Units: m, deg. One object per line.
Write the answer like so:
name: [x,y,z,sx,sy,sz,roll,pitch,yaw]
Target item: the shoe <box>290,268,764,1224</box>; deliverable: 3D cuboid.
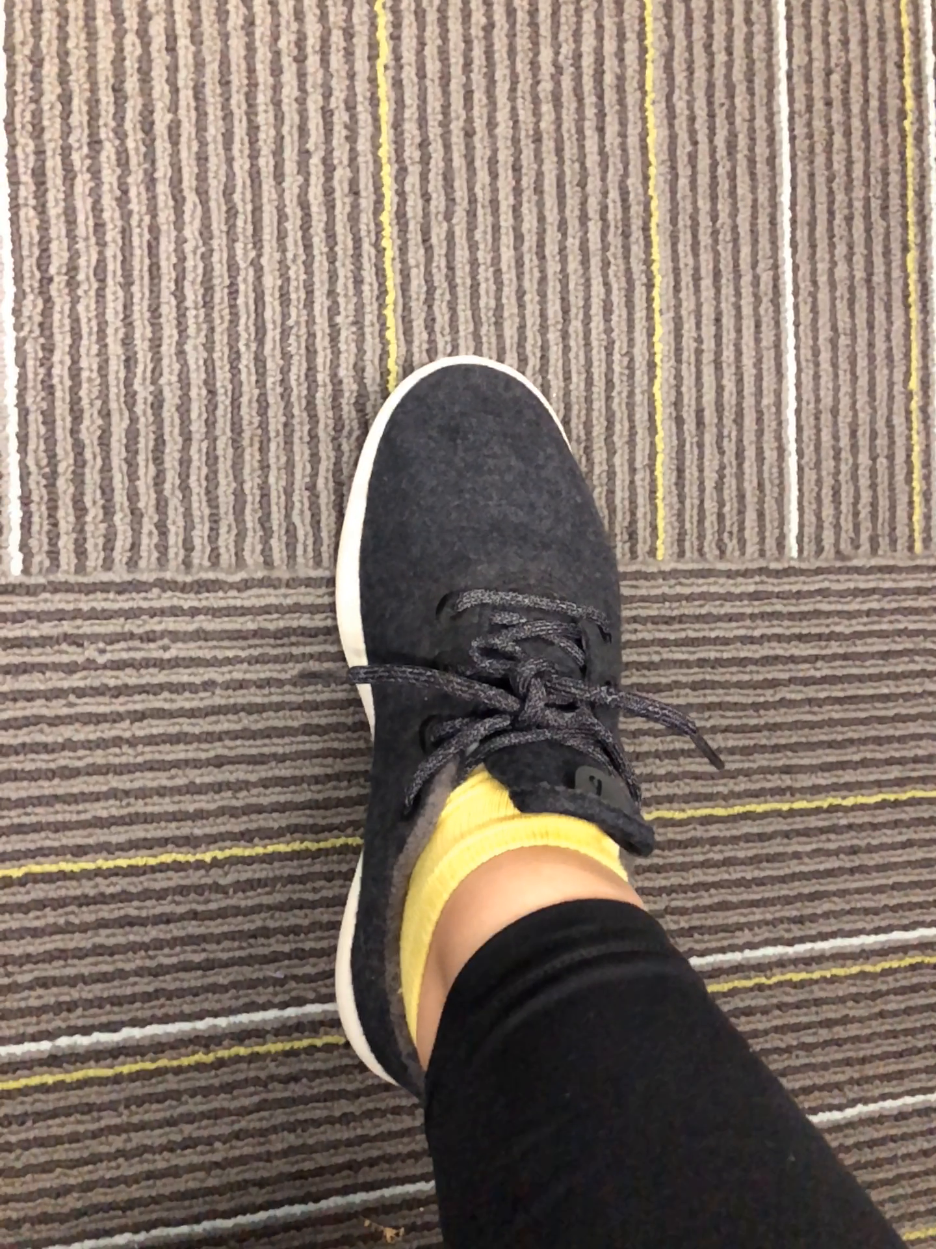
shoe: [0.014,0.036,0.337,0.120,0.080,0.260,3,90,-15]
